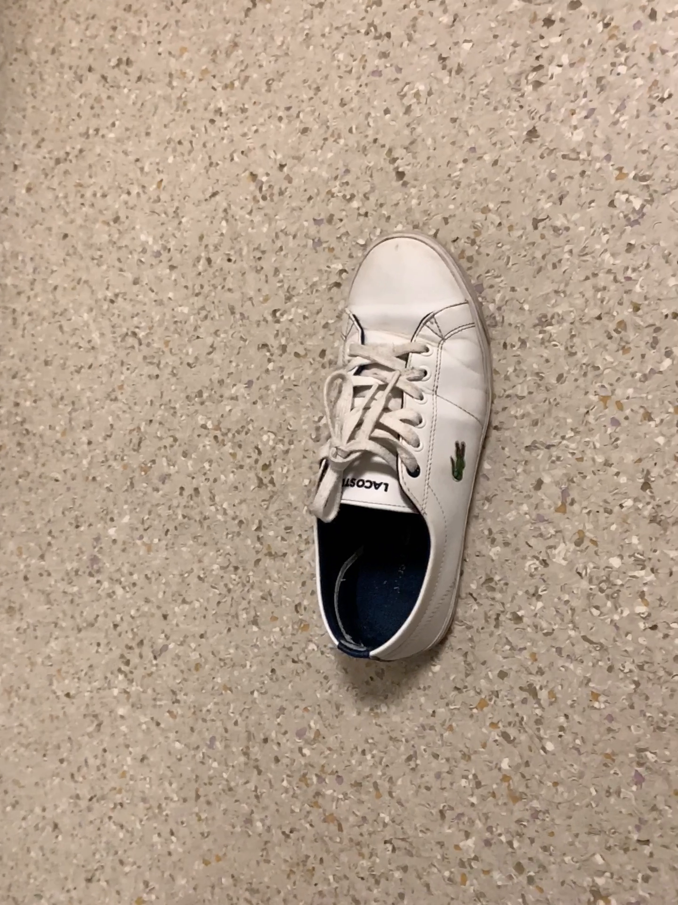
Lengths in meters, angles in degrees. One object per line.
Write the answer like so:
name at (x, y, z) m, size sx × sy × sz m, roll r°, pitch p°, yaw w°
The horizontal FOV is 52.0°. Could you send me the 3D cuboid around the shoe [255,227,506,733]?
shoe at (0.027, 0.011, 0.406) m, size 0.100 × 0.090 × 0.250 m, roll 5°, pitch 90°, yaw 28°
